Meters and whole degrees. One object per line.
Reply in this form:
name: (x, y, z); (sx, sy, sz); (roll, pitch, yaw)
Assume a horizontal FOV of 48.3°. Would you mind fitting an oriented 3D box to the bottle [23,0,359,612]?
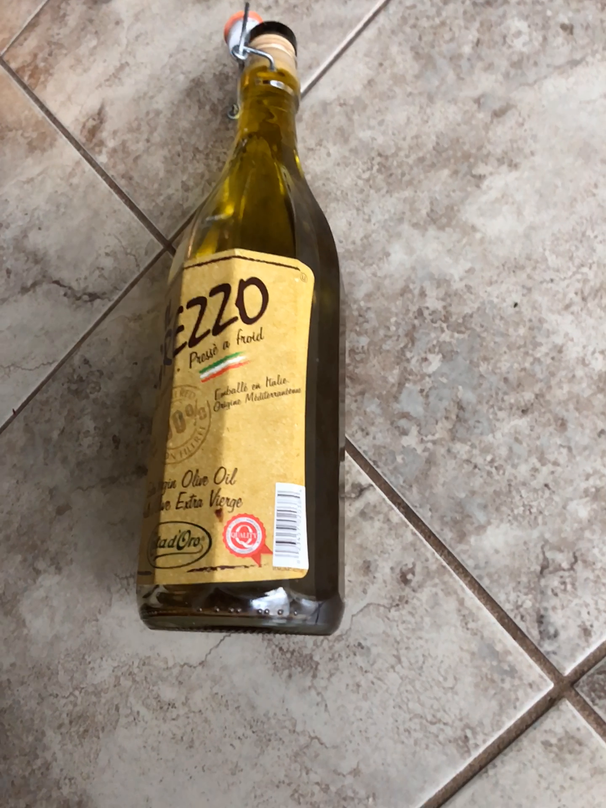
bottle: (-0.041, -0.086, 0.331); (0.090, 0.100, 0.350); (-11, 66, 24)
